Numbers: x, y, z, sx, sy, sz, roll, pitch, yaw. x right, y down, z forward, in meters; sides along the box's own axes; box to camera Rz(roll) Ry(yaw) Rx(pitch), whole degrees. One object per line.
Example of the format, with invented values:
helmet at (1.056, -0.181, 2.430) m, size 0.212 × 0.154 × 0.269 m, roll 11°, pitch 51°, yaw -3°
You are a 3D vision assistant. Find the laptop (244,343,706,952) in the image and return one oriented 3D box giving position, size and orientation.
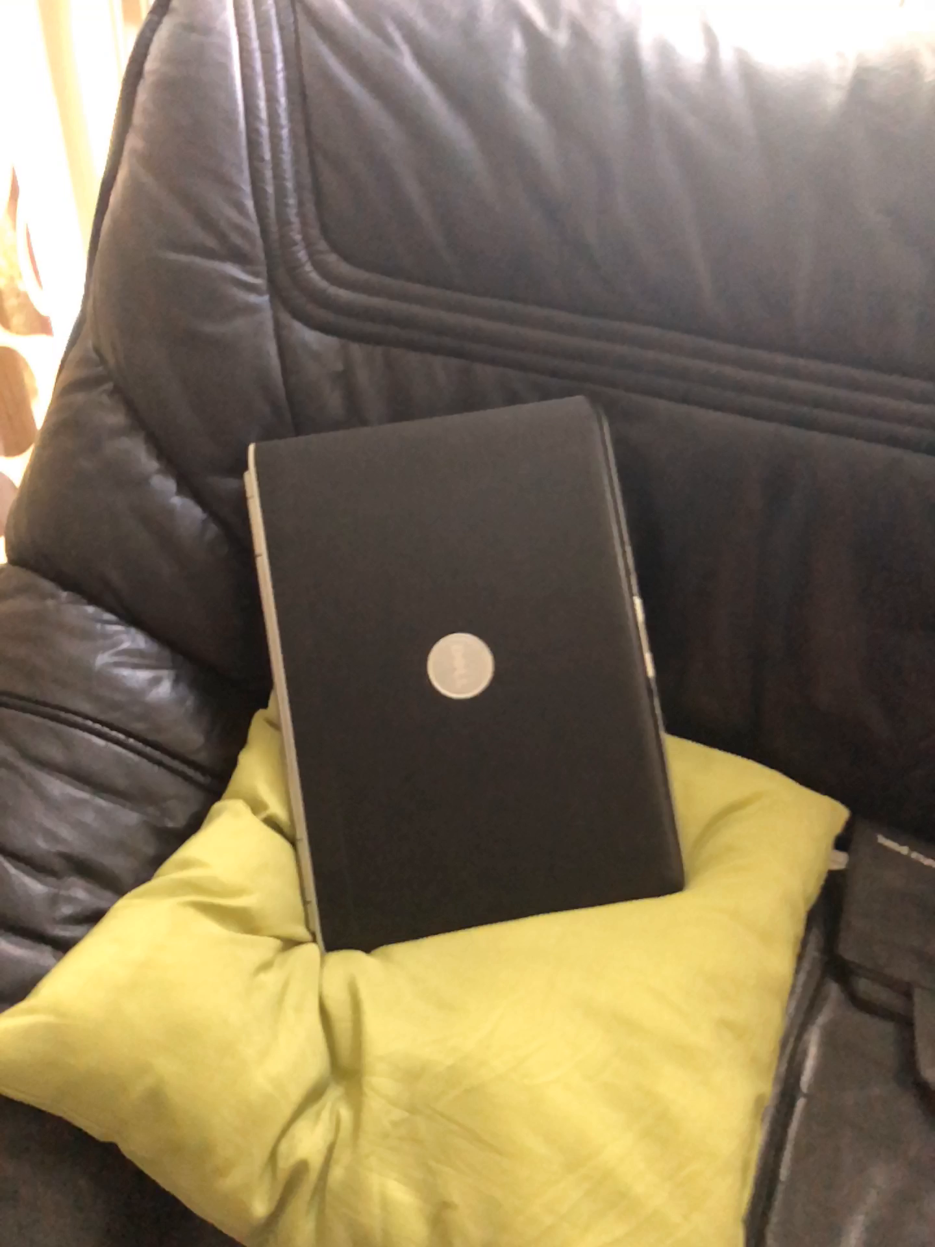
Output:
laptop at (0.000, 0.013, 0.692) m, size 0.247 × 0.033 × 0.345 m, roll -9°, pitch 83°, yaw -3°
